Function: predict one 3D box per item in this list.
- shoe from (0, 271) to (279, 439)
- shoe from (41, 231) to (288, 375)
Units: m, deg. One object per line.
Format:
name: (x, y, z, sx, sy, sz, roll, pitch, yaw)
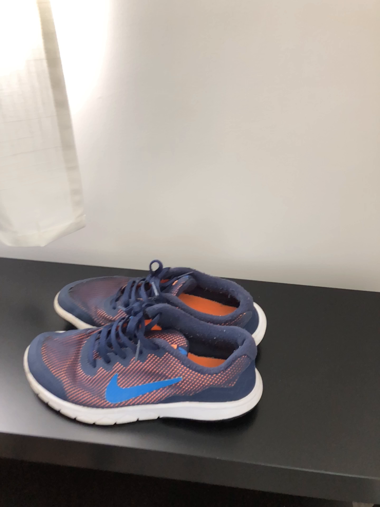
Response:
shoe: (-0.053, 0.099, 0.430, 0.260, 0.089, 0.120, 4, 36, 2)
shoe: (-0.024, 0.053, 0.497, 0.260, 0.089, 0.100, 7, 37, 7)
